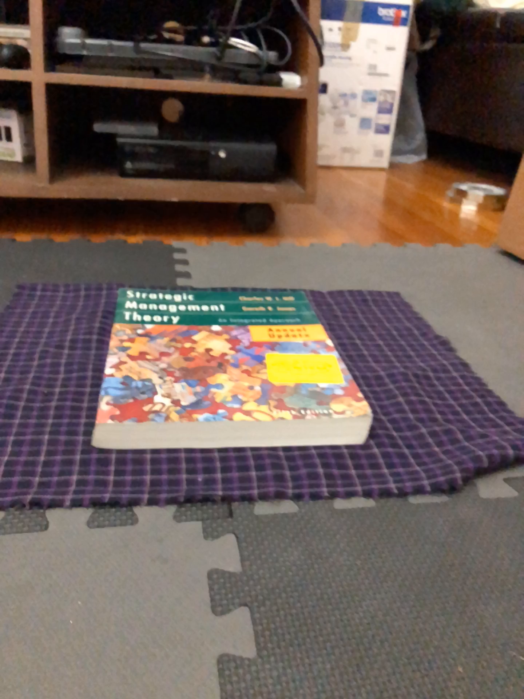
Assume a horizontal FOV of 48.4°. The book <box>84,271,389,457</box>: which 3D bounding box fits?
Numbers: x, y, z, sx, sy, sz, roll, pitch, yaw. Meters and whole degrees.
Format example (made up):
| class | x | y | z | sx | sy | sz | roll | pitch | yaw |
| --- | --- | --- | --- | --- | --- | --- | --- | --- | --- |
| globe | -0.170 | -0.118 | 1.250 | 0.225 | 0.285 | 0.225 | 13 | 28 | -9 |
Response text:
| class | x | y | z | sx | sy | sz | roll | pitch | yaw |
| --- | --- | --- | --- | --- | --- | --- | --- | --- | --- |
| book | -0.034 | -0.005 | 0.568 | 0.230 | 0.040 | 0.282 | 0 | 29 | -8 |
